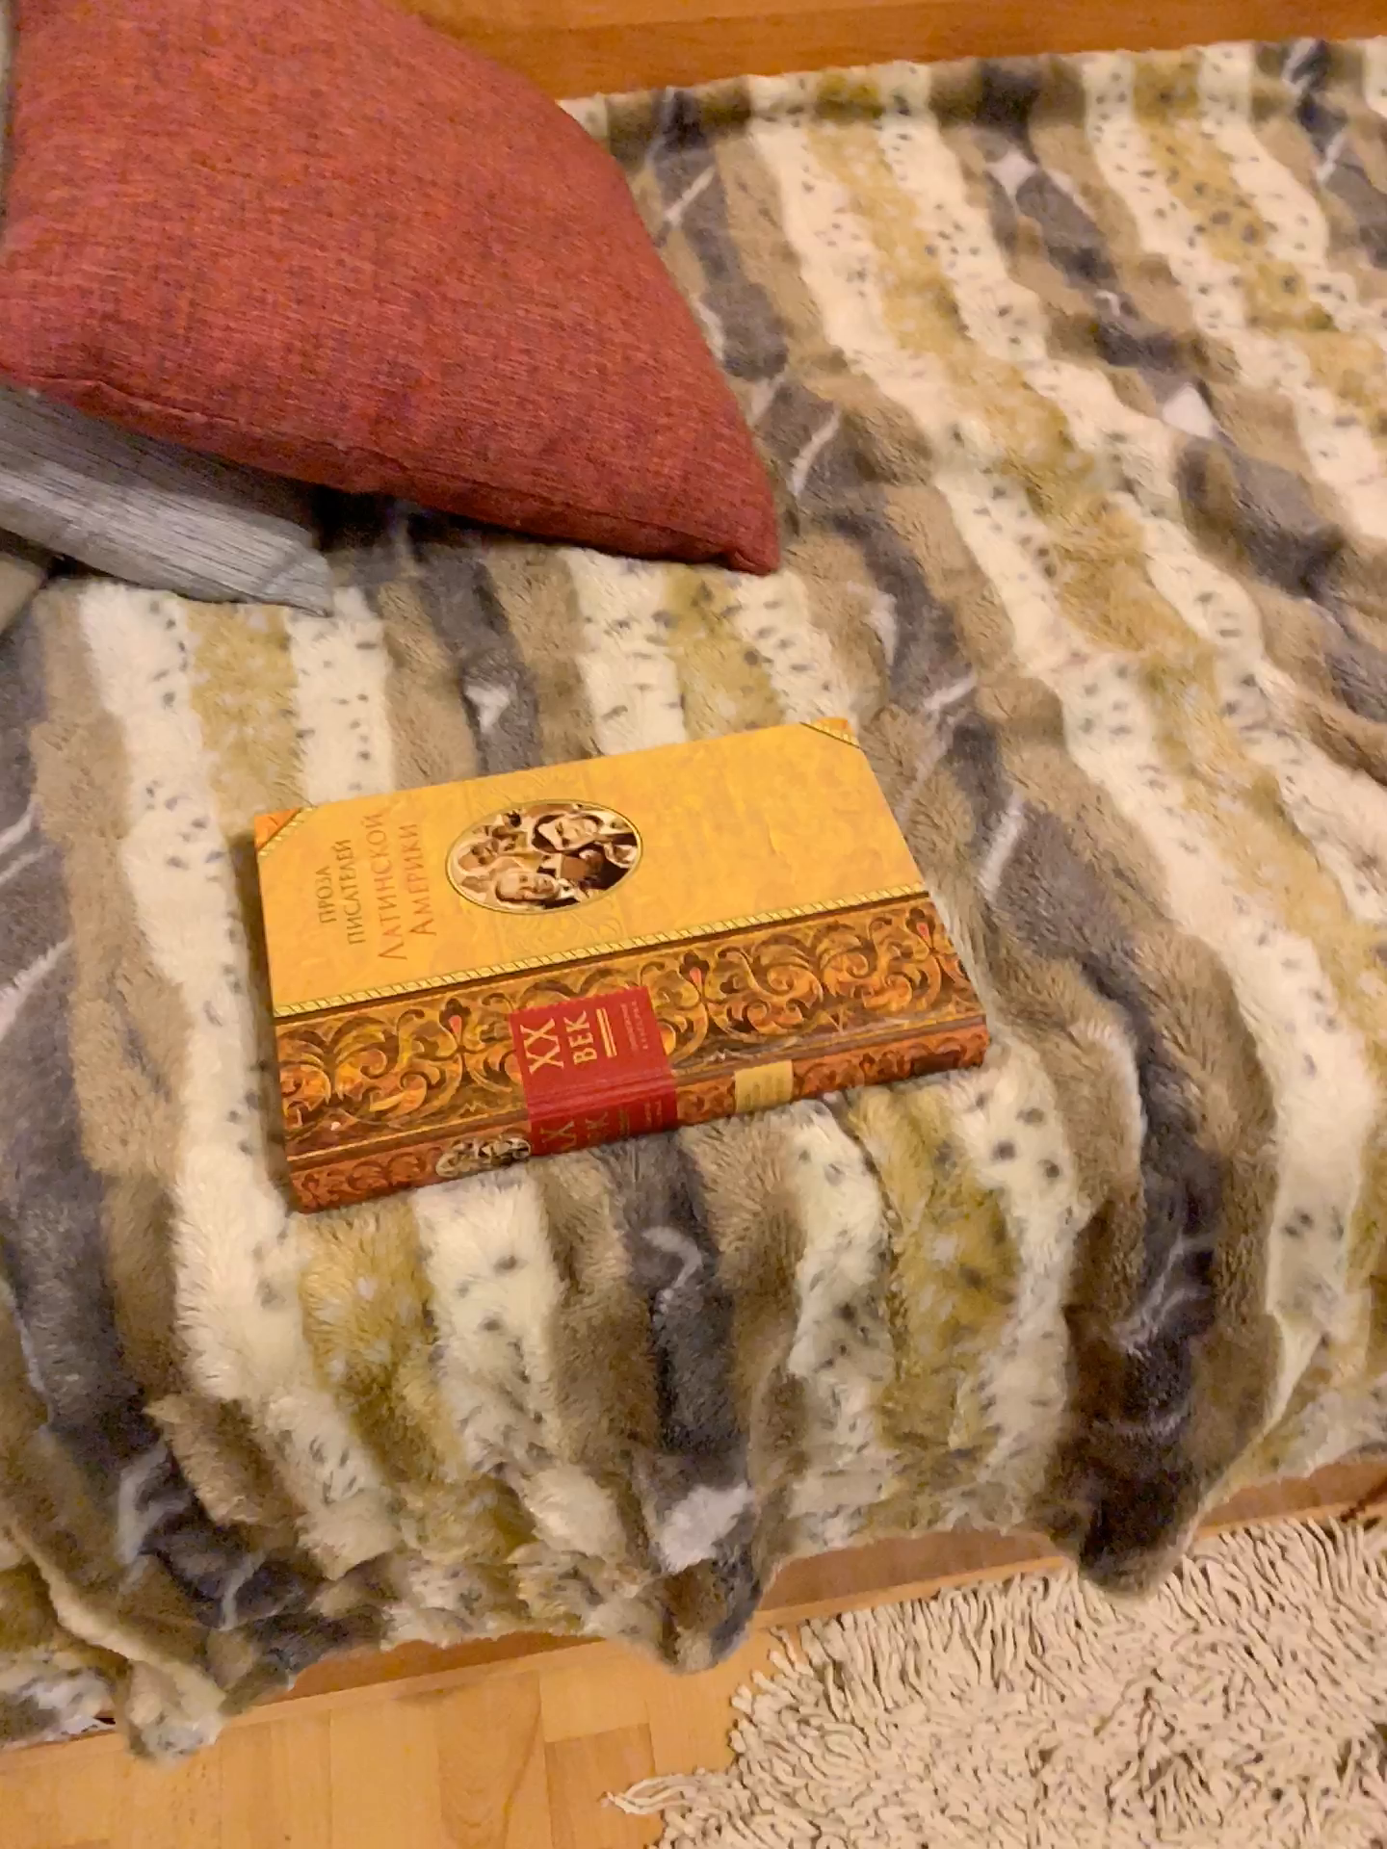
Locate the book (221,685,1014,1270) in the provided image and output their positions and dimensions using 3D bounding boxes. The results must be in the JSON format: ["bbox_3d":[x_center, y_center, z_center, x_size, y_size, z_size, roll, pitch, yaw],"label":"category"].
[{"bbox_3d":[-0.038,0.011,0.564,0.270,0.060,0.181,-12,53,-9],"label":"book"}]
